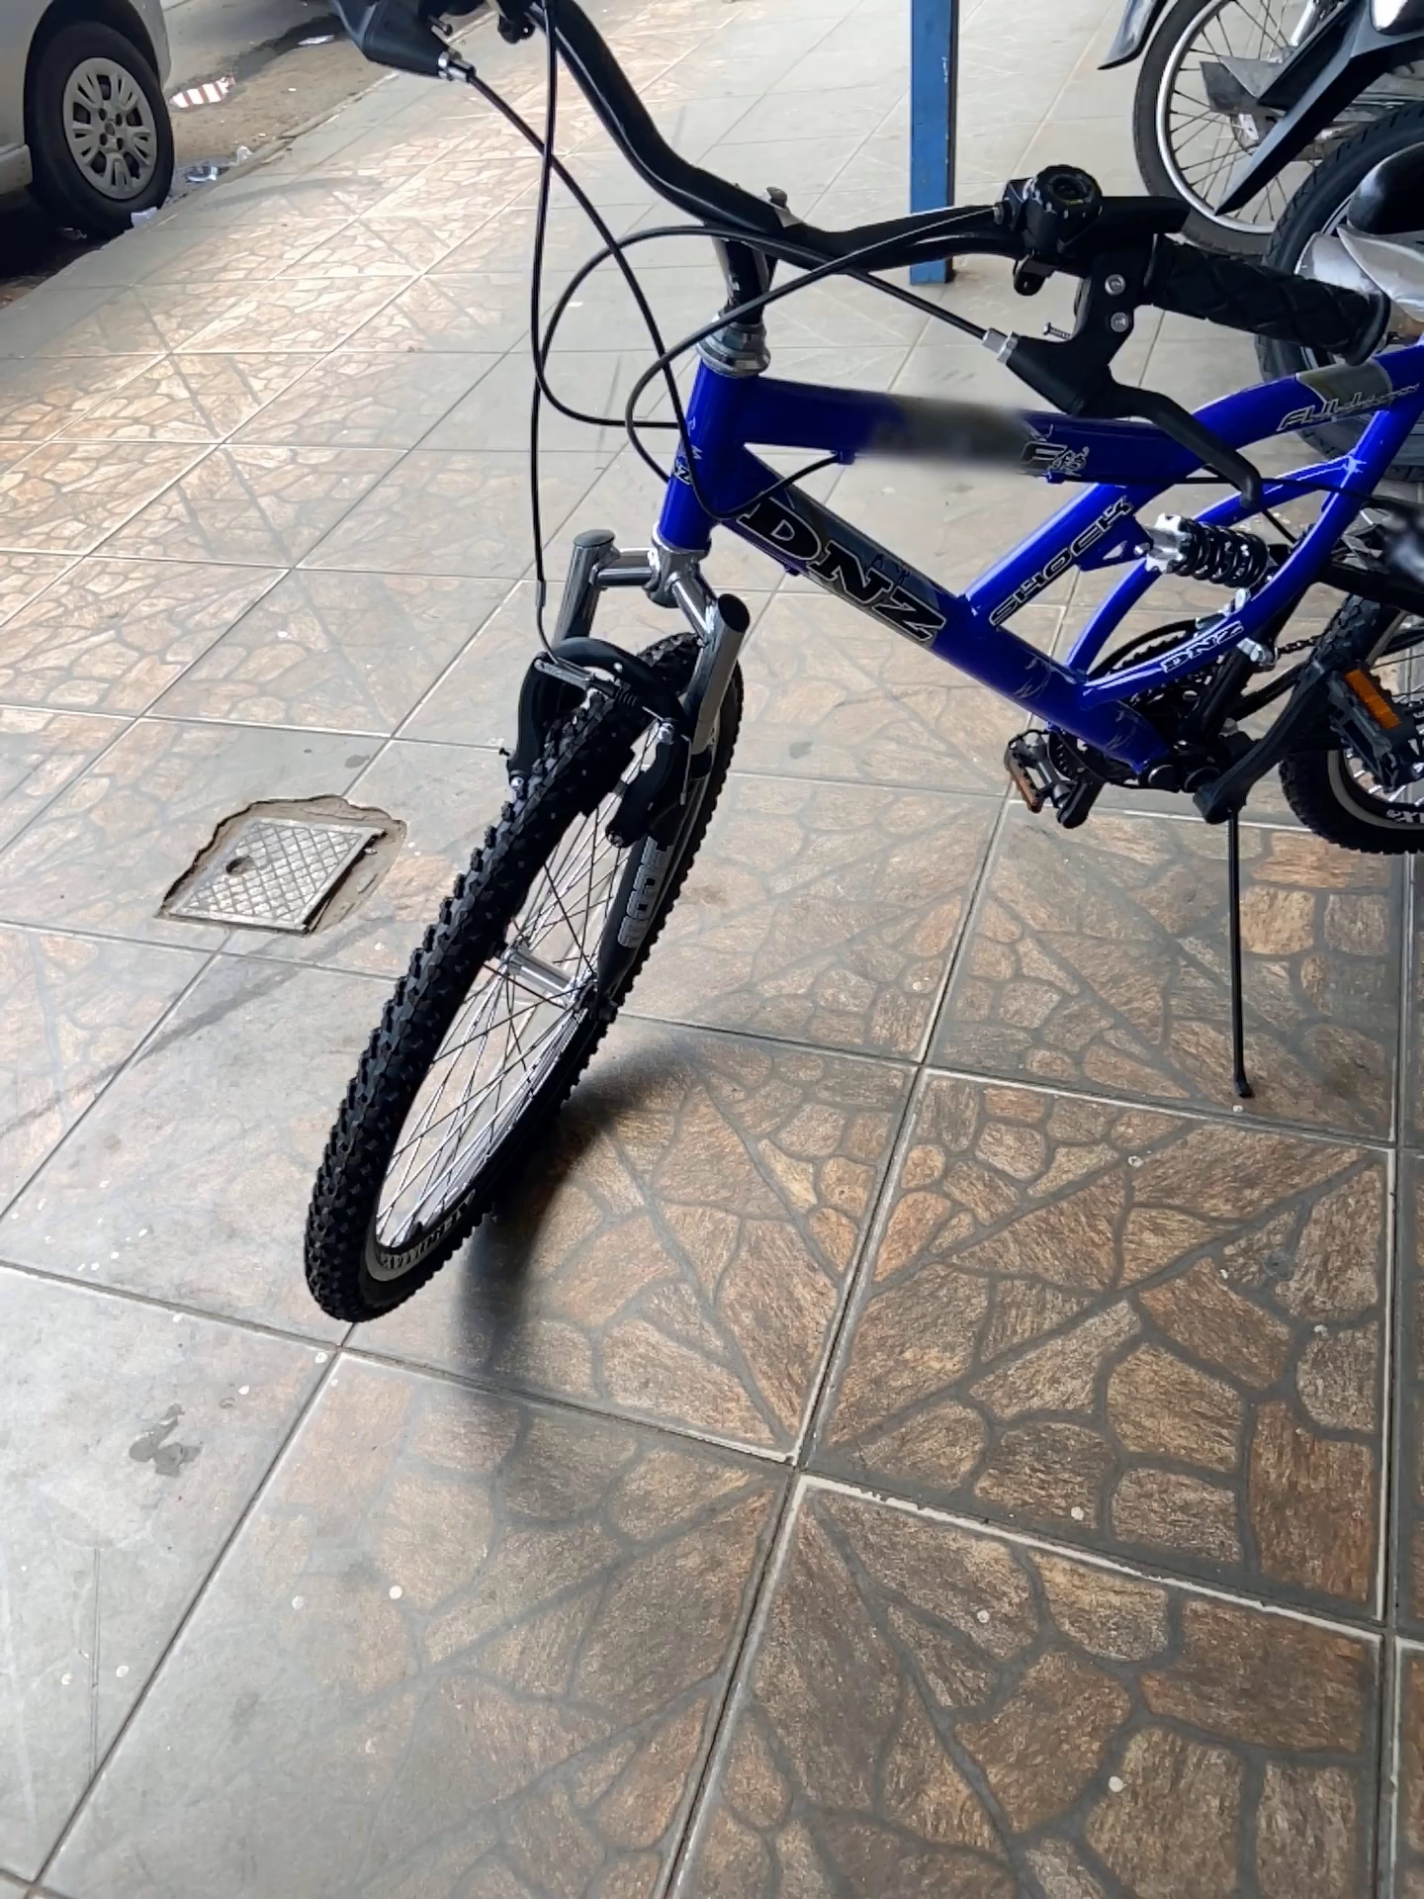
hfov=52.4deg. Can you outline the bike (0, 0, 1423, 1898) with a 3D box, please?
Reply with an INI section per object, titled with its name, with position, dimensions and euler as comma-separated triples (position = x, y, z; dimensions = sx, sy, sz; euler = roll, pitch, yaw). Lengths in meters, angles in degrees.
[bike]
position = 0.460, -0.108, 1.061
dimensions = 1.612, 1.019, 0.516
euler = -24, 46, -13
